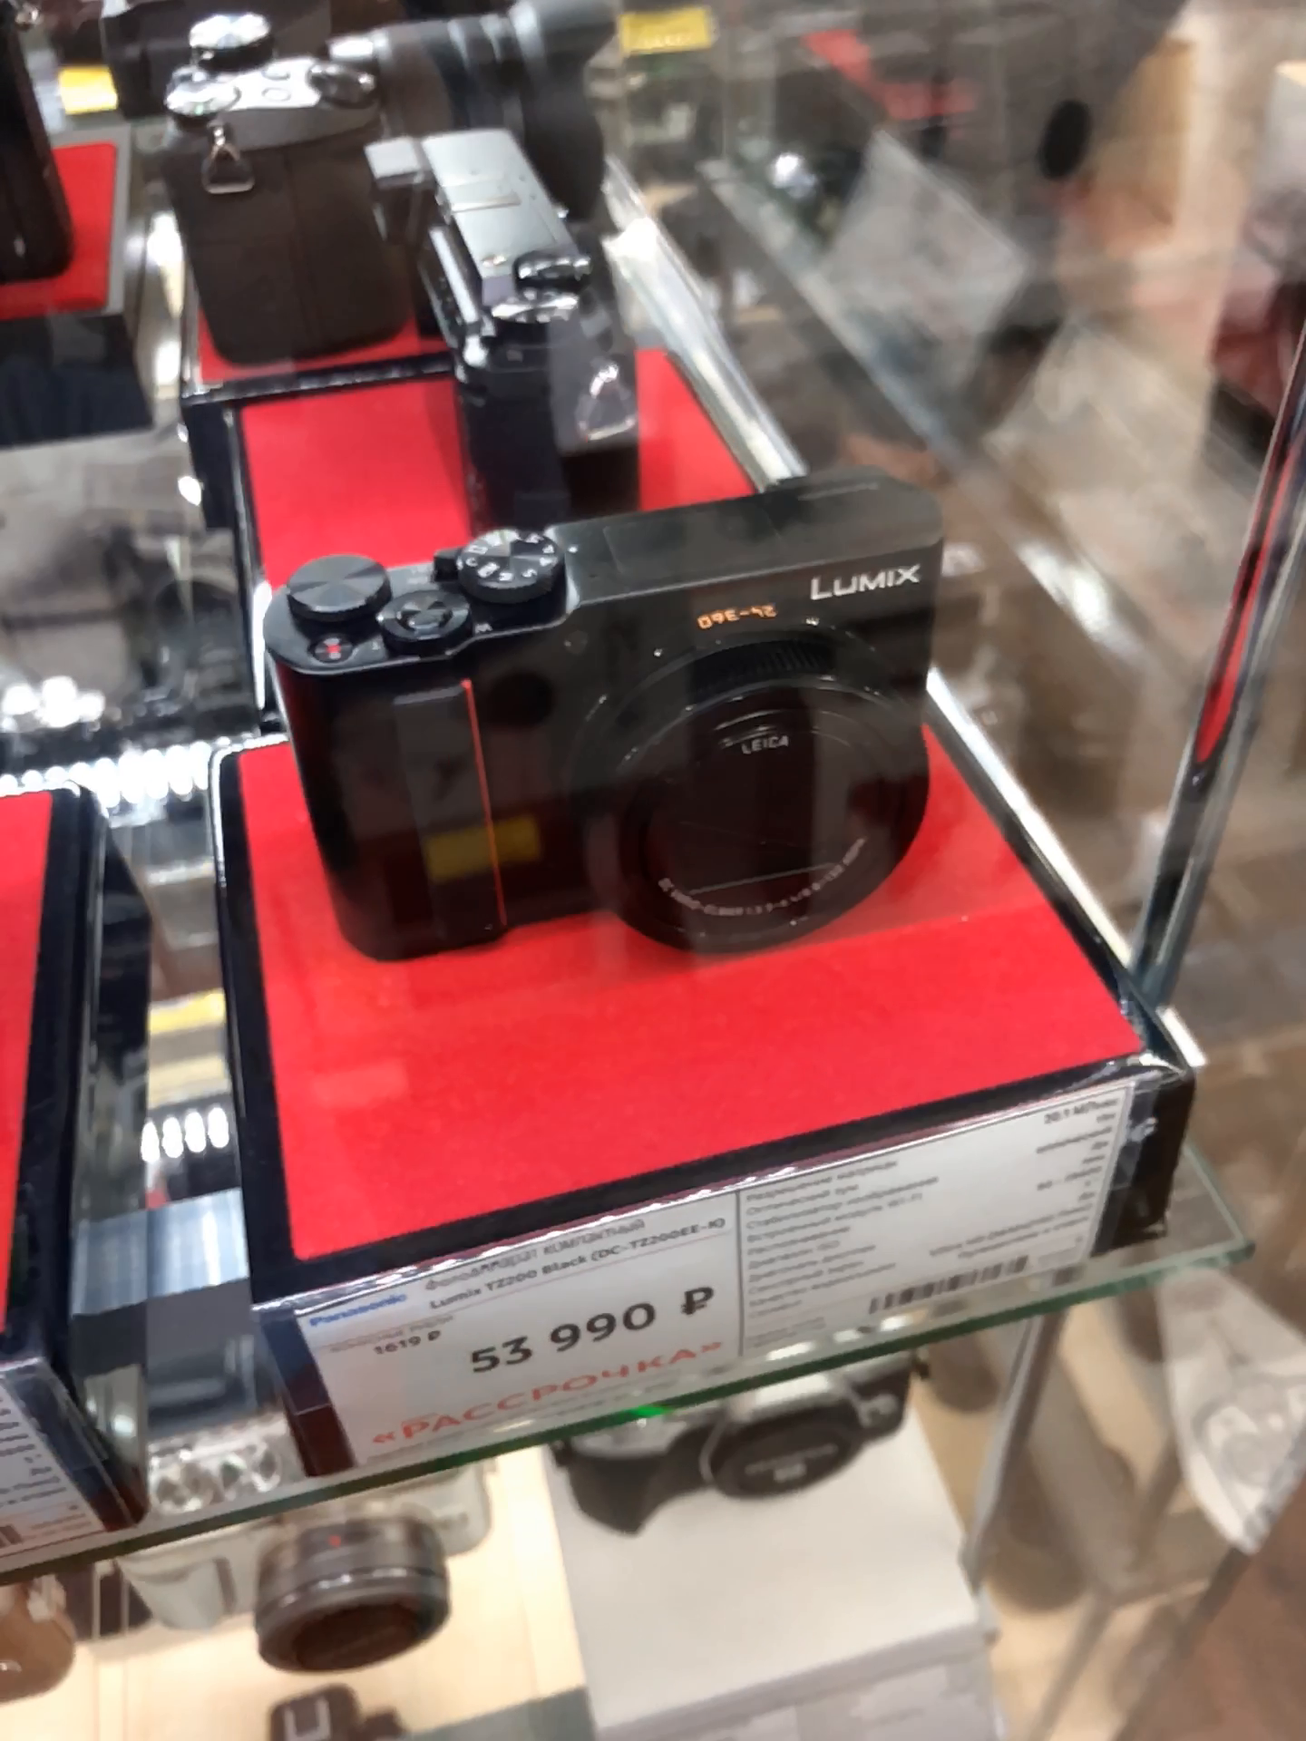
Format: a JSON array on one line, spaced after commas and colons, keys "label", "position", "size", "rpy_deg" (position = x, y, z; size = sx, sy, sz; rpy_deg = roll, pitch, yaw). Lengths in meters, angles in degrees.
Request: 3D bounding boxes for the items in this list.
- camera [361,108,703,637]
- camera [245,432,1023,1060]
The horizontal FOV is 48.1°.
[{"label": "camera", "position": [-0.029, -0.119, 0.341], "size": [0.054, 0.076, 0.102], "rpy_deg": [-12, 44, -10]}, {"label": "camera", "position": [-0.004, -0.022, 0.248], "size": [0.110, 0.070, 0.052], "rpy_deg": [-12, 44, -10]}]
